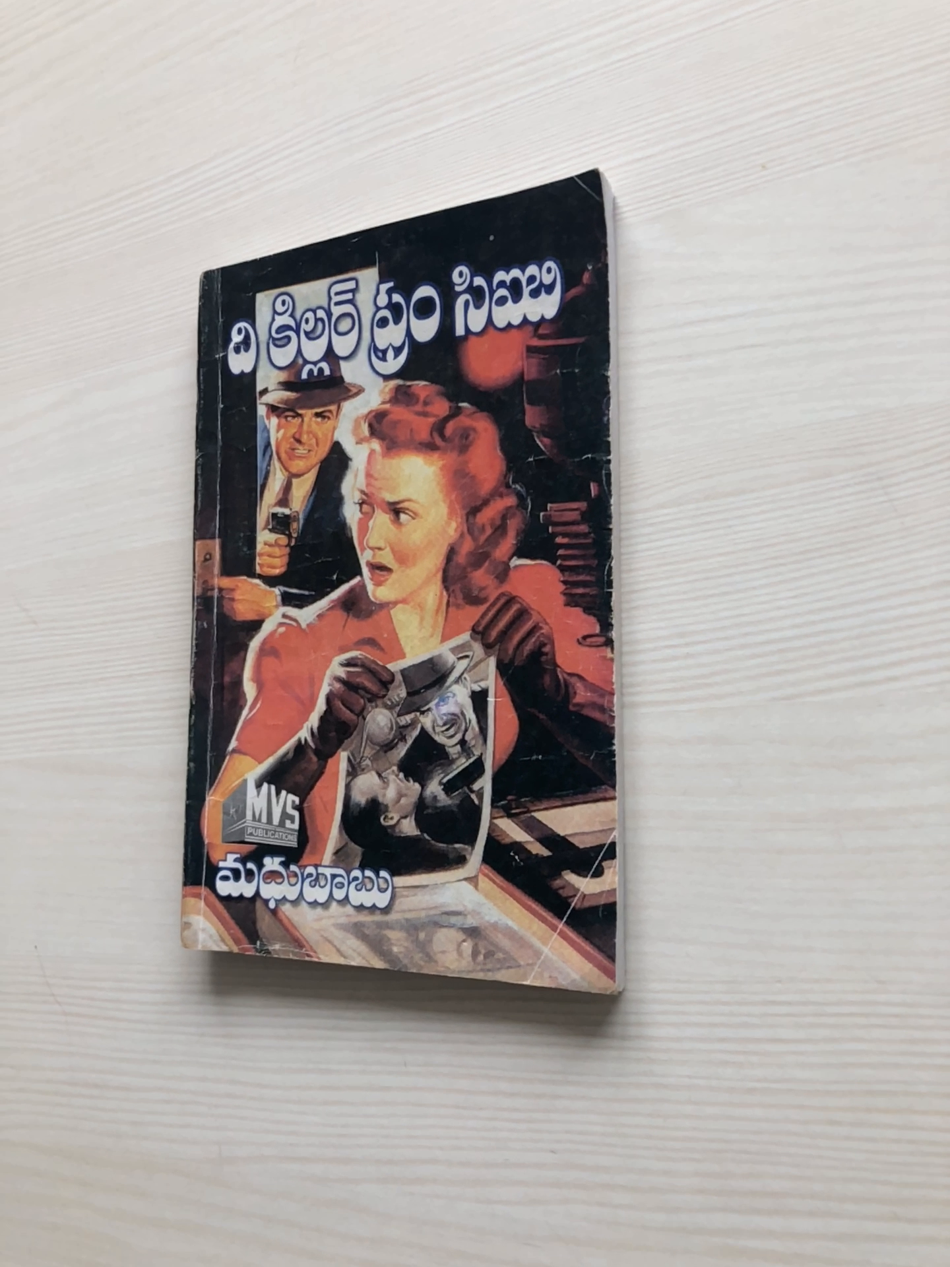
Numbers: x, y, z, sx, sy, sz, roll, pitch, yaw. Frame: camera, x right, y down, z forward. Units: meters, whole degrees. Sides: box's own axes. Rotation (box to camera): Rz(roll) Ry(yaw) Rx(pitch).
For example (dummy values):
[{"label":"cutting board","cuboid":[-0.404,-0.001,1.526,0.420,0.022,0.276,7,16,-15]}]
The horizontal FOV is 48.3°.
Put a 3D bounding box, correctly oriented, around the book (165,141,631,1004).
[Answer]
[{"label":"book","cuboid":[-0.019,-0.012,0.220,0.100,0.012,0.160,-3,82,26]}]
